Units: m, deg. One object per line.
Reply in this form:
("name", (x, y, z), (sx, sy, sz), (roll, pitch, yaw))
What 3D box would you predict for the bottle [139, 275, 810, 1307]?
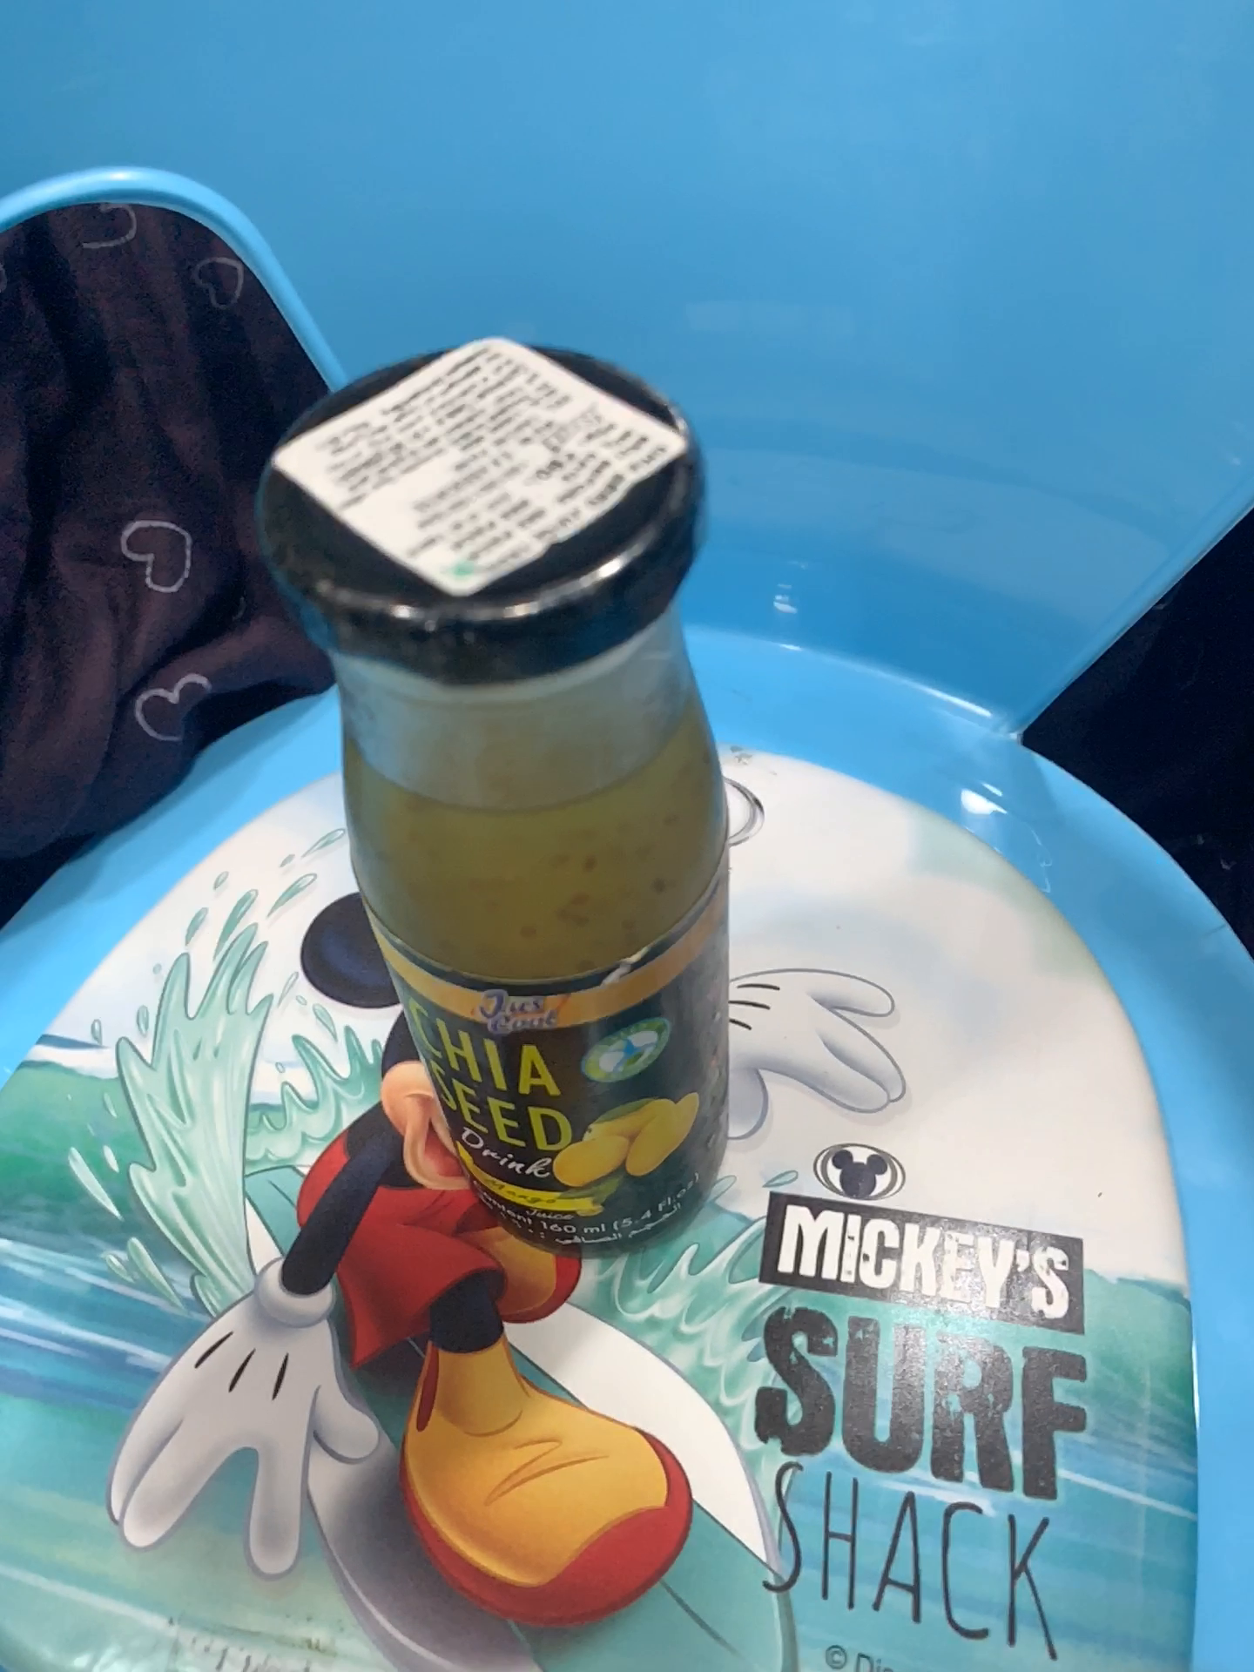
("bottle", (-0.009, 0.005, 0.179), (0.050, 0.140, 0.050), (-2, 47, 2))
